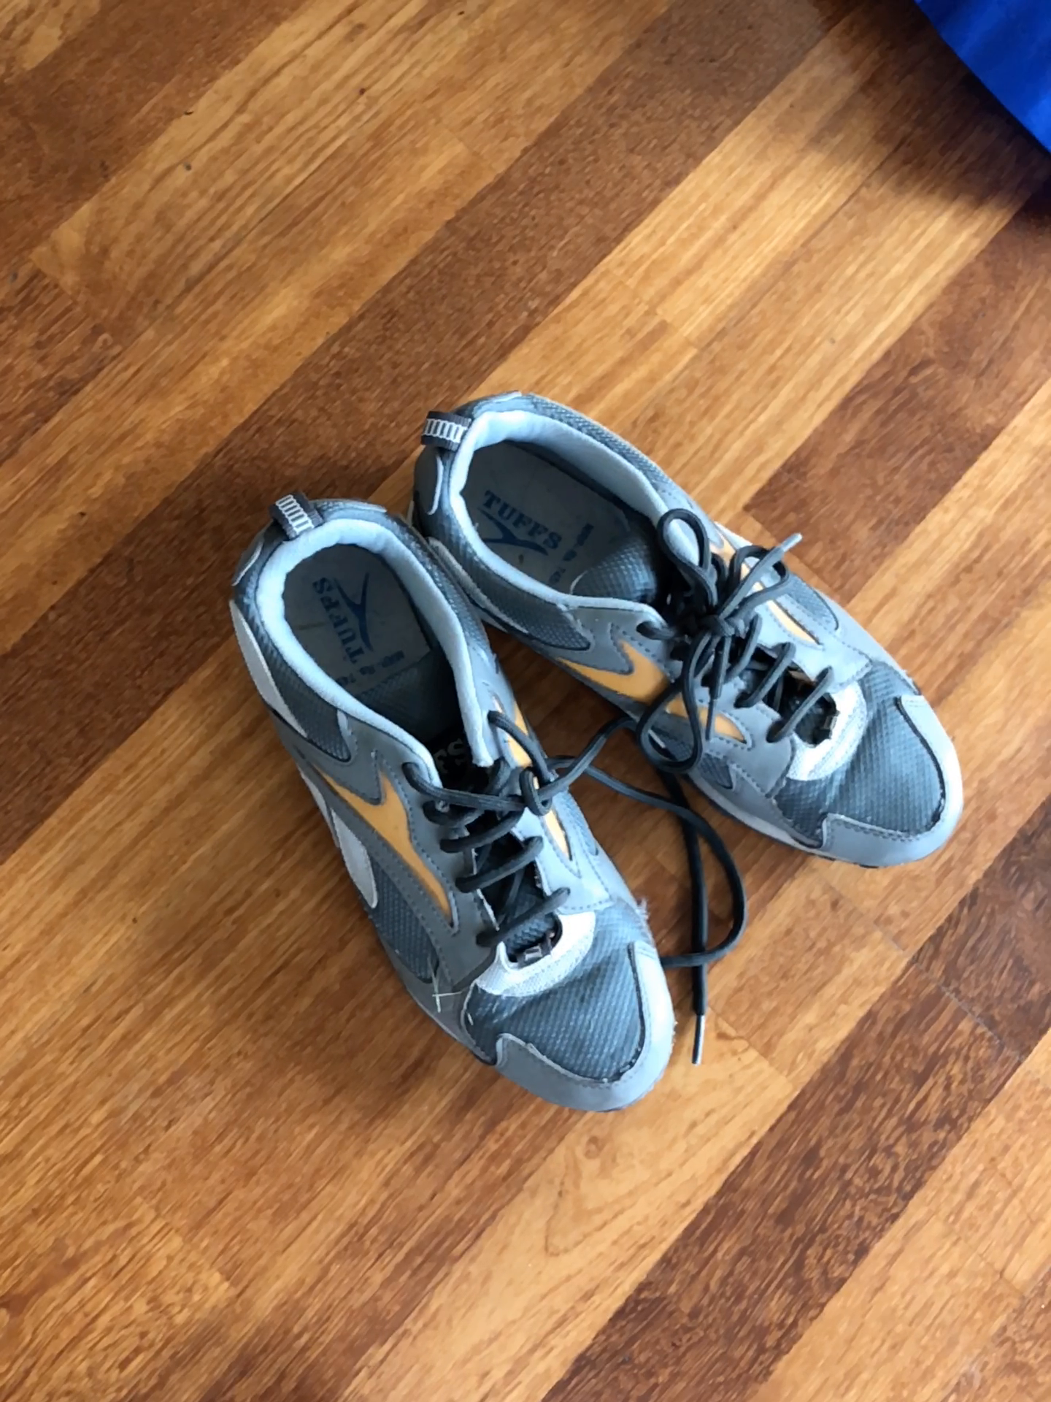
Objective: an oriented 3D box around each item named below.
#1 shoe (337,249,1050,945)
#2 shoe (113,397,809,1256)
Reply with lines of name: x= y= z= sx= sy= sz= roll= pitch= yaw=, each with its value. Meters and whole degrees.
shoe: x=0.073 y=-0.034 z=0.475 sx=0.283 sy=0.099 sz=0.112 roll=38 pitch=79 yaw=2
shoe: x=-0.028 y=0.043 z=0.448 sx=0.110 sy=0.088 sz=0.283 roll=-31 pitch=85 yaw=-10
